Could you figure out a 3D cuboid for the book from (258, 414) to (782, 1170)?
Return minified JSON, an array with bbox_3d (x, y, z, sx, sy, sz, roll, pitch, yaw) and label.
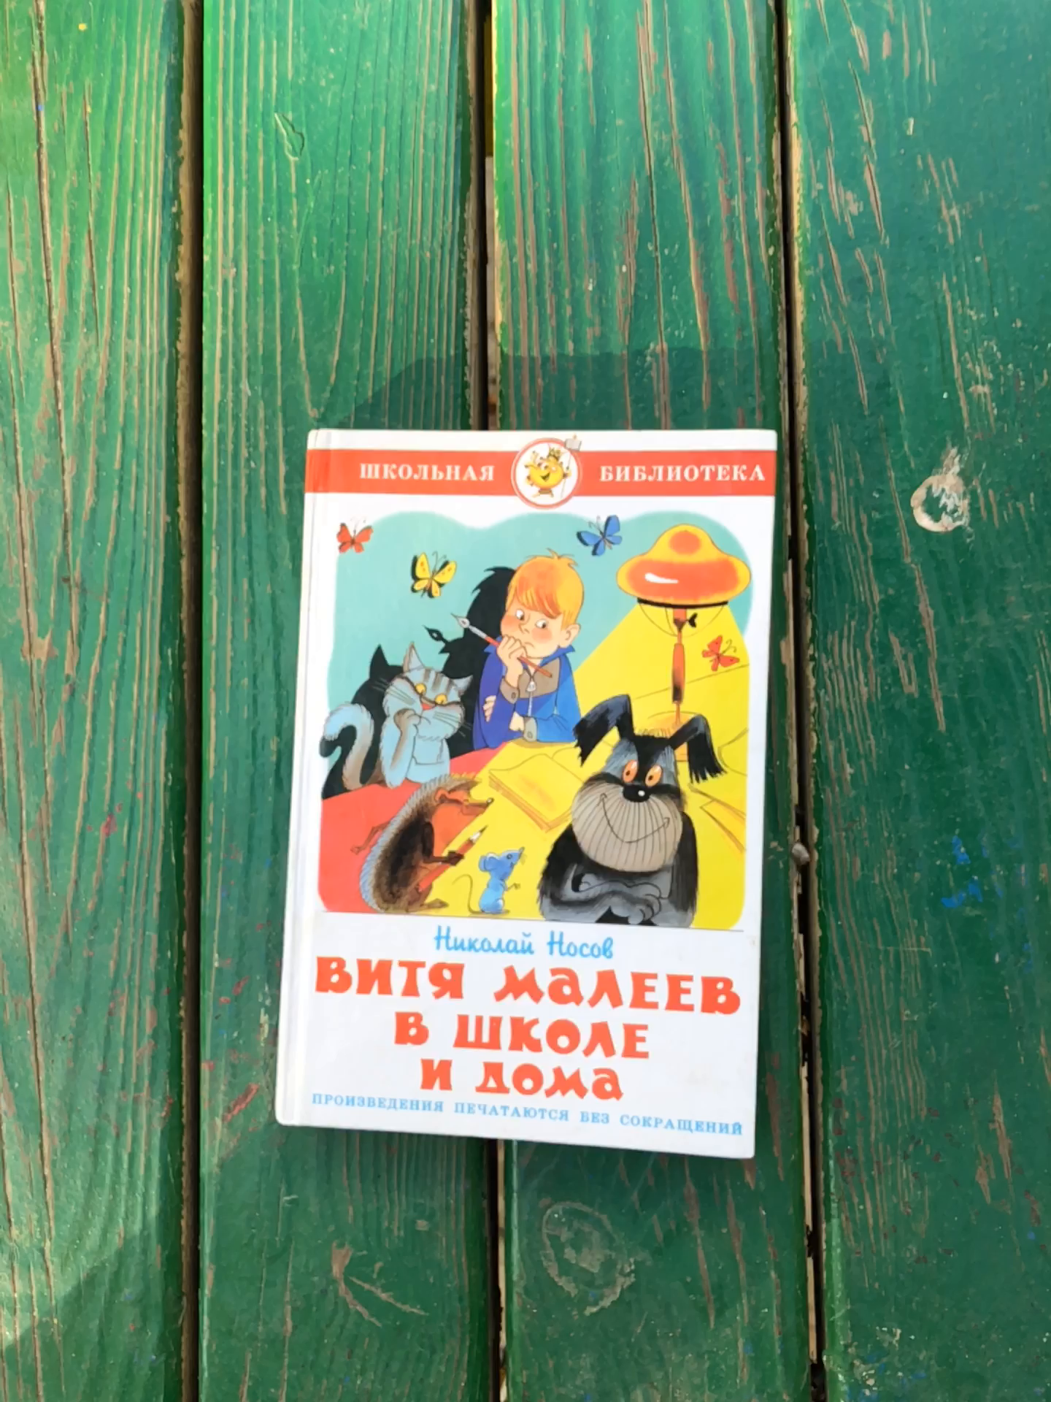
[{"bbox_3d":[-0.001,0.022,0.347,0.145,0.020,0.212,1,86,7],"label":"book"}]
